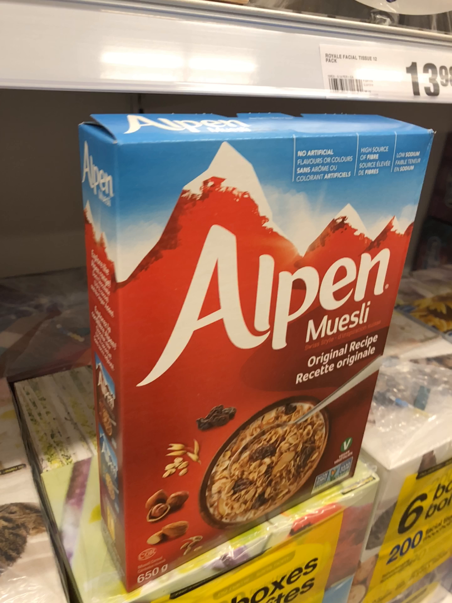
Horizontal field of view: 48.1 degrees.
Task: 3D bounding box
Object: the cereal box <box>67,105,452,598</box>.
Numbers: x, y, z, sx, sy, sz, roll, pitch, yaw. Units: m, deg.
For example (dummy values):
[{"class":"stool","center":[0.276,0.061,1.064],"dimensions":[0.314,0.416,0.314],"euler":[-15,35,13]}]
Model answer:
[{"class":"cereal box","center":[0.019,0.021,0.273],"dimensions":[0.180,0.229,0.050],"euler":[-13,31,-32]}]
